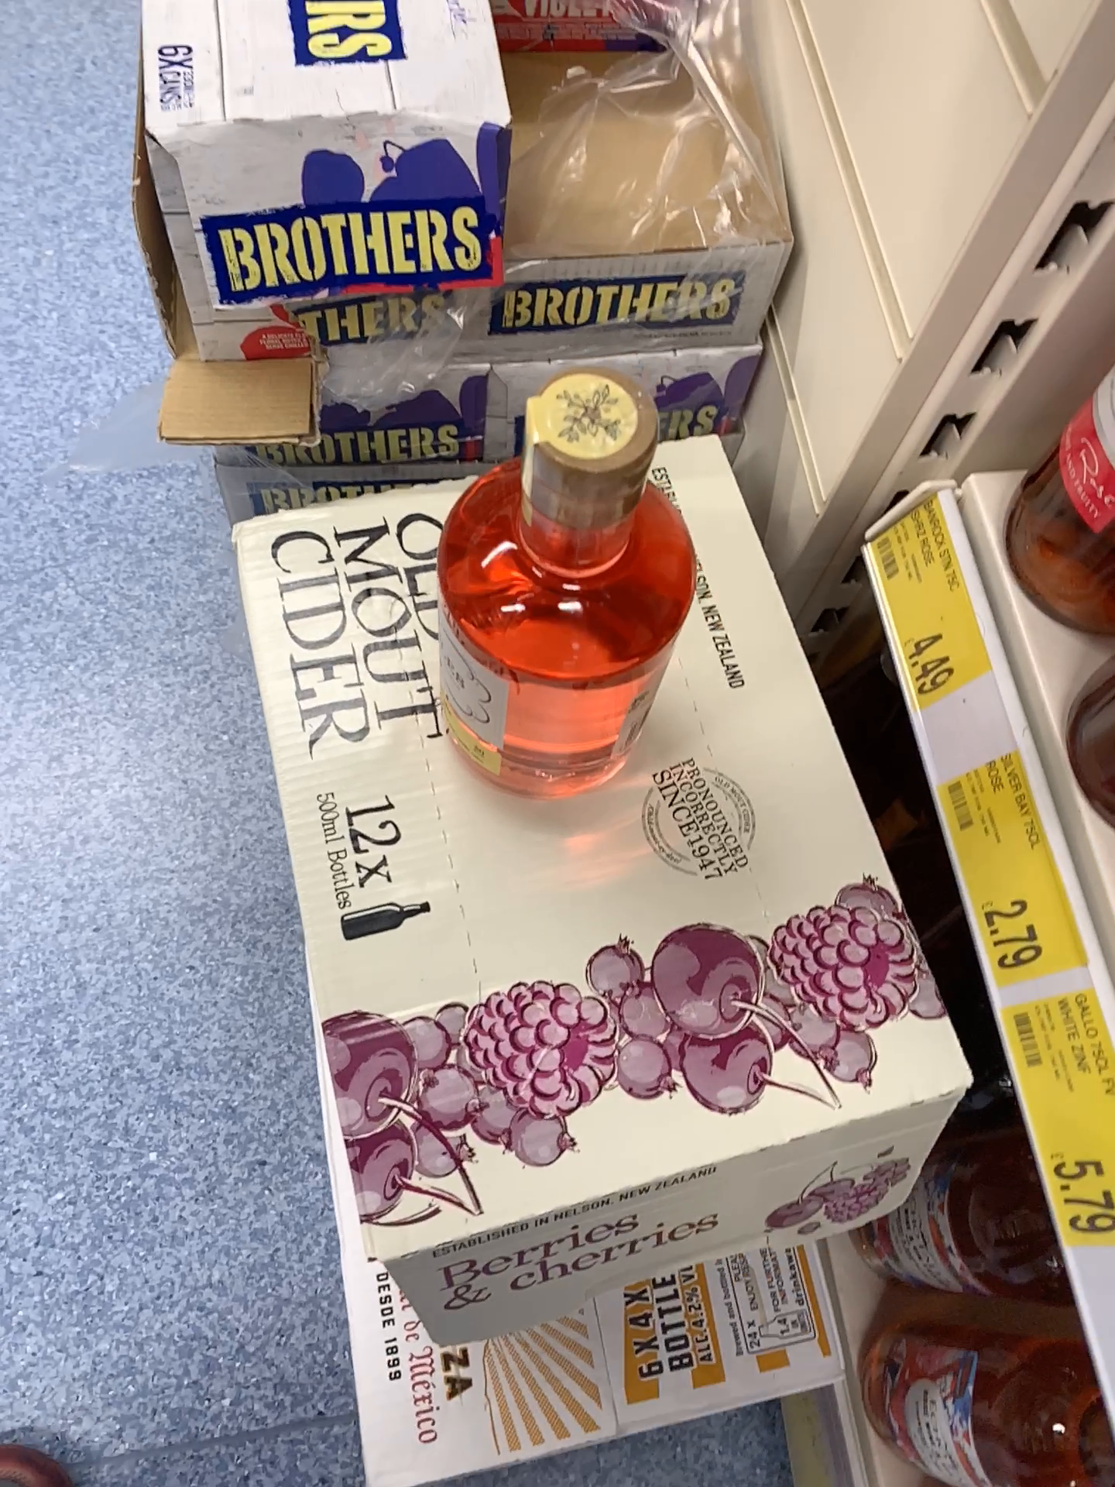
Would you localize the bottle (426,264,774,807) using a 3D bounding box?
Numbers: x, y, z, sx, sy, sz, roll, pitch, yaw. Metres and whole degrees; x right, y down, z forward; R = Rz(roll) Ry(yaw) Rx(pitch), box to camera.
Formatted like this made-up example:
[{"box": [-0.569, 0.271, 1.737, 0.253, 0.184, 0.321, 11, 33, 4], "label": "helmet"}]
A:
[{"box": [0.000, -0.049, 0.350, 0.076, 0.176, 0.077, 2, 66, -5], "label": "bottle"}]
